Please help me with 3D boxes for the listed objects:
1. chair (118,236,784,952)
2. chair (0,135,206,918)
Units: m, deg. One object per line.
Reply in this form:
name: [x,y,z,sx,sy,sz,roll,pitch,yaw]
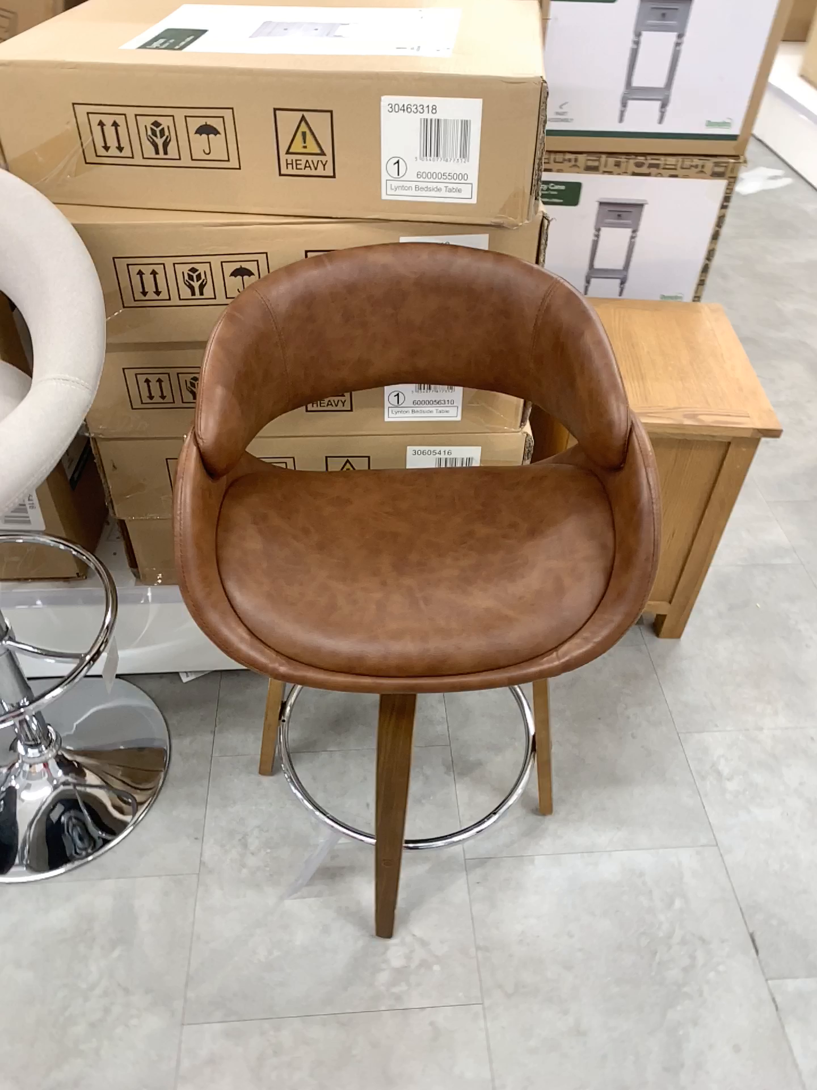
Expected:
chair: [0.013,0.103,1.167,0.543,0.847,0.555,-1,43,-3]
chair: [-0.611,0.027,1.146,0.493,0.946,0.524,-2,44,-6]
